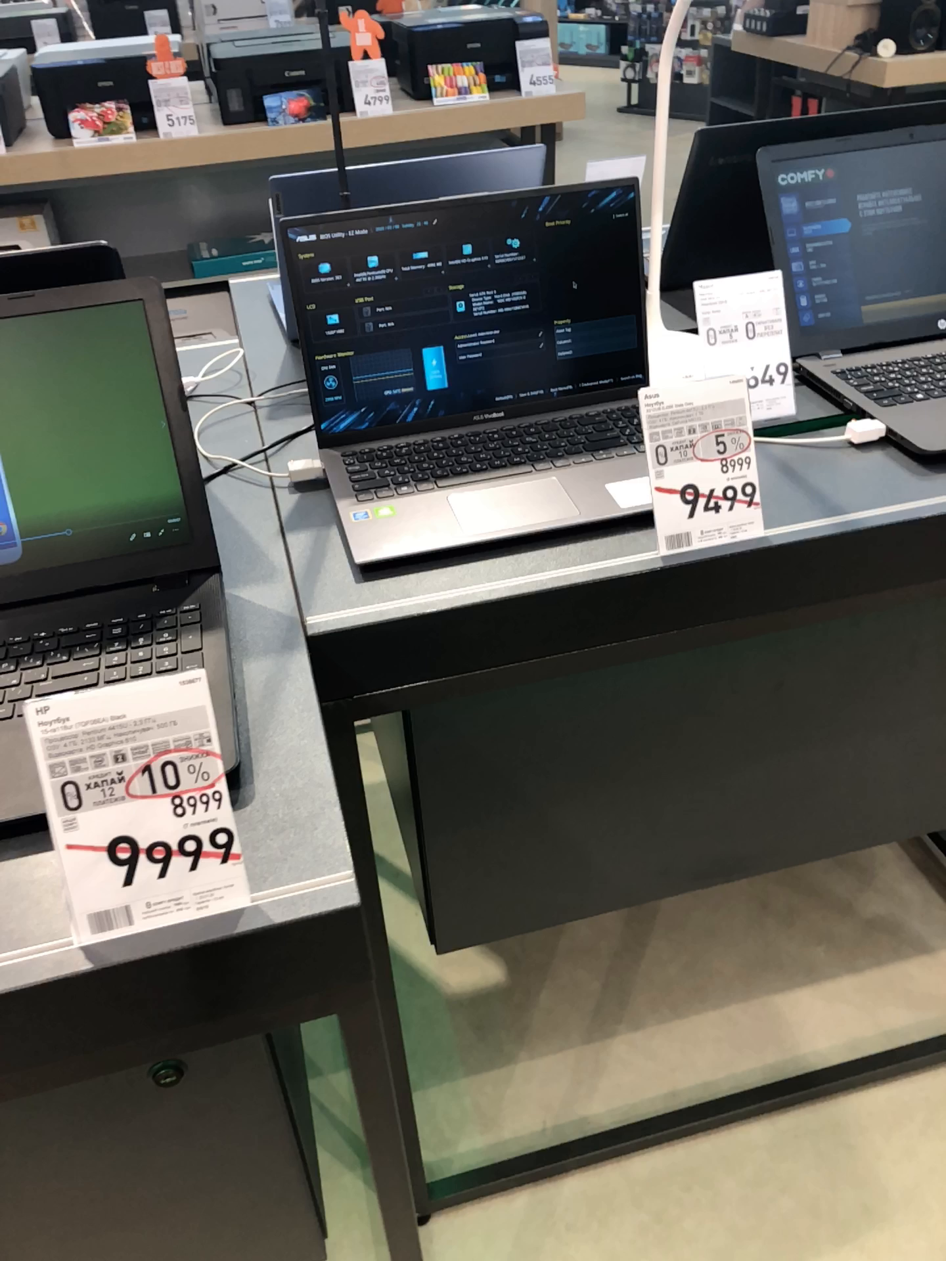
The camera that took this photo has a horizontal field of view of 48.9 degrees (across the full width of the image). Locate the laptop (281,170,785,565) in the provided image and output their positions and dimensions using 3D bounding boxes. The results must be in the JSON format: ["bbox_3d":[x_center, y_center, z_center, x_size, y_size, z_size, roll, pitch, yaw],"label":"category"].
[{"bbox_3d":[0.034,-0.252,0.938,0.355,0.200,0.288,-11,36,-8],"label":"laptop"}]
